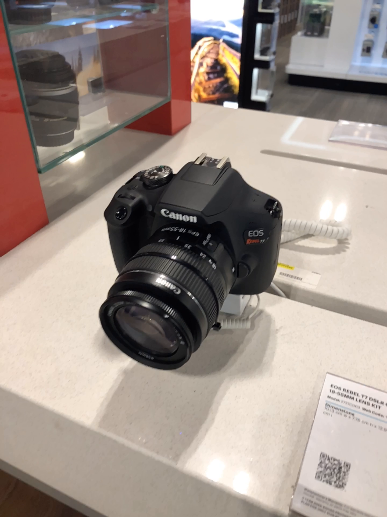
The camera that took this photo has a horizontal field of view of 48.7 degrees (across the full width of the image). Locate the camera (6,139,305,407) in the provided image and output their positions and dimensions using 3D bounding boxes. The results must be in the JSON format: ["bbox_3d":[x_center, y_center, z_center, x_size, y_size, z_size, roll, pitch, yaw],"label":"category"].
[{"bbox_3d":[-0.012,-0.006,0.302,0.140,0.089,0.151,13,38,18],"label":"camera"}]
